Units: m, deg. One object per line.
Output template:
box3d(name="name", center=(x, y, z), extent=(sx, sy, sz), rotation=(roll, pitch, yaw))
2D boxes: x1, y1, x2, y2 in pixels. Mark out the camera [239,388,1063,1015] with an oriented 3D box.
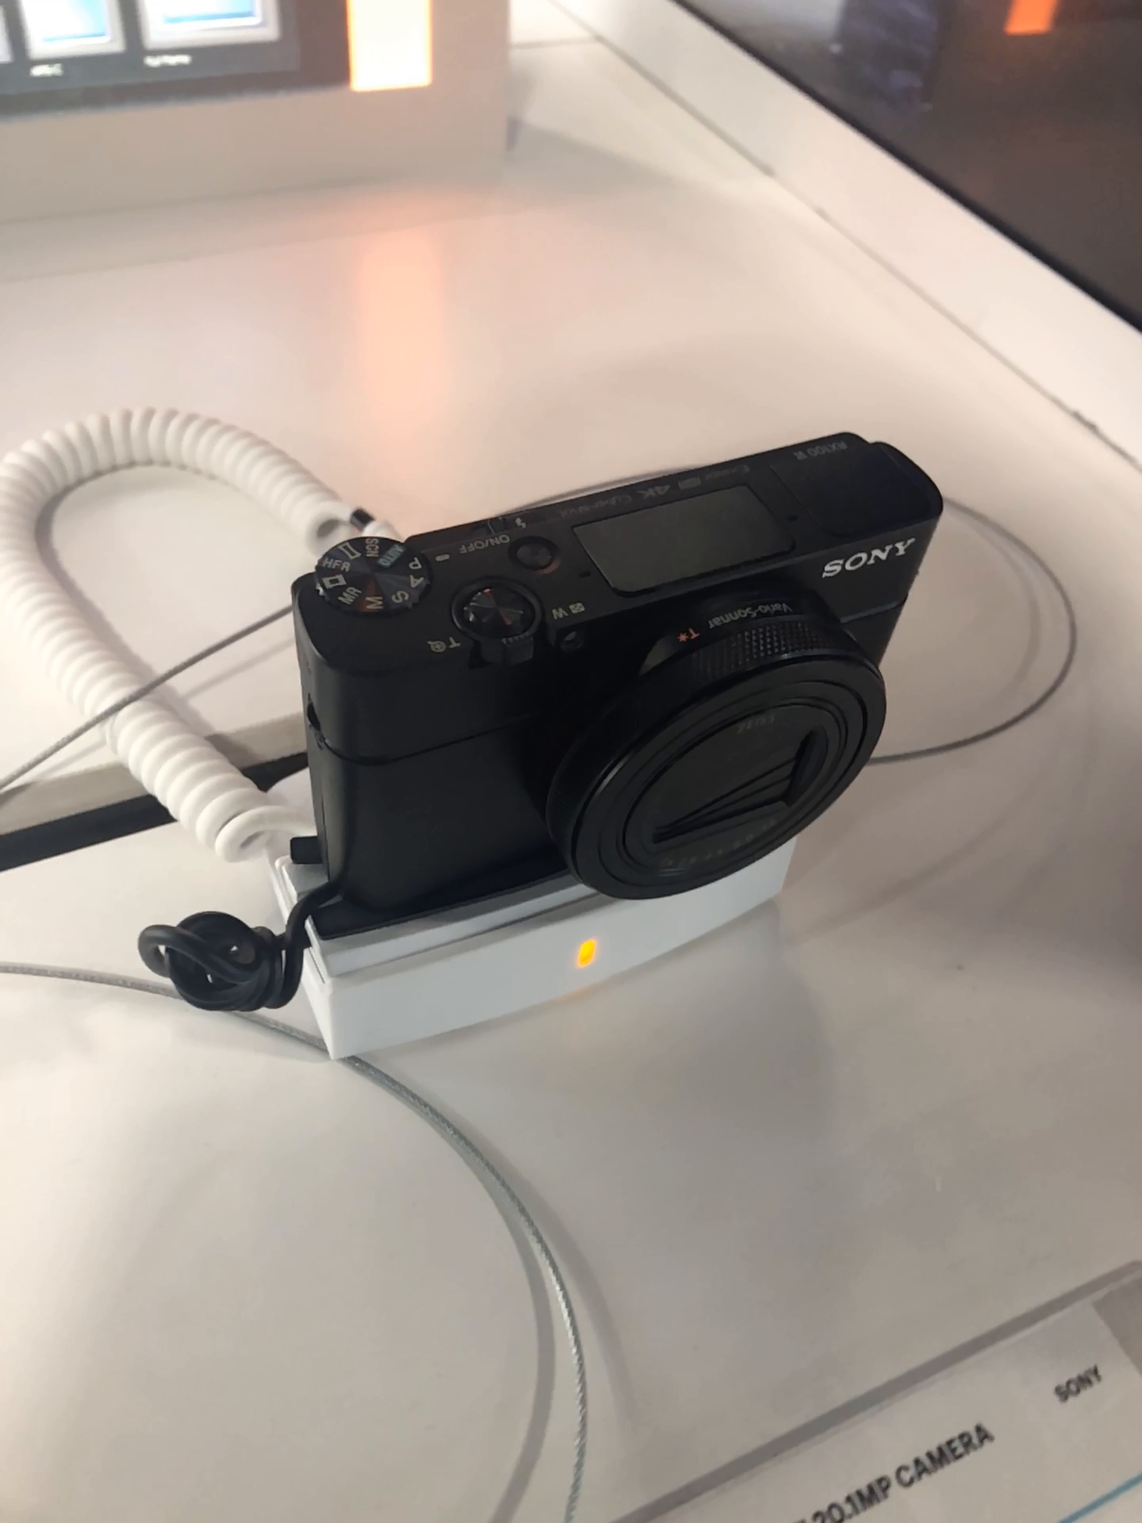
box3d(name="camera", center=(0.011, -0.012, 0.198), extent=(0.109, 0.060, 0.040), rotation=(-17, 51, -20))
